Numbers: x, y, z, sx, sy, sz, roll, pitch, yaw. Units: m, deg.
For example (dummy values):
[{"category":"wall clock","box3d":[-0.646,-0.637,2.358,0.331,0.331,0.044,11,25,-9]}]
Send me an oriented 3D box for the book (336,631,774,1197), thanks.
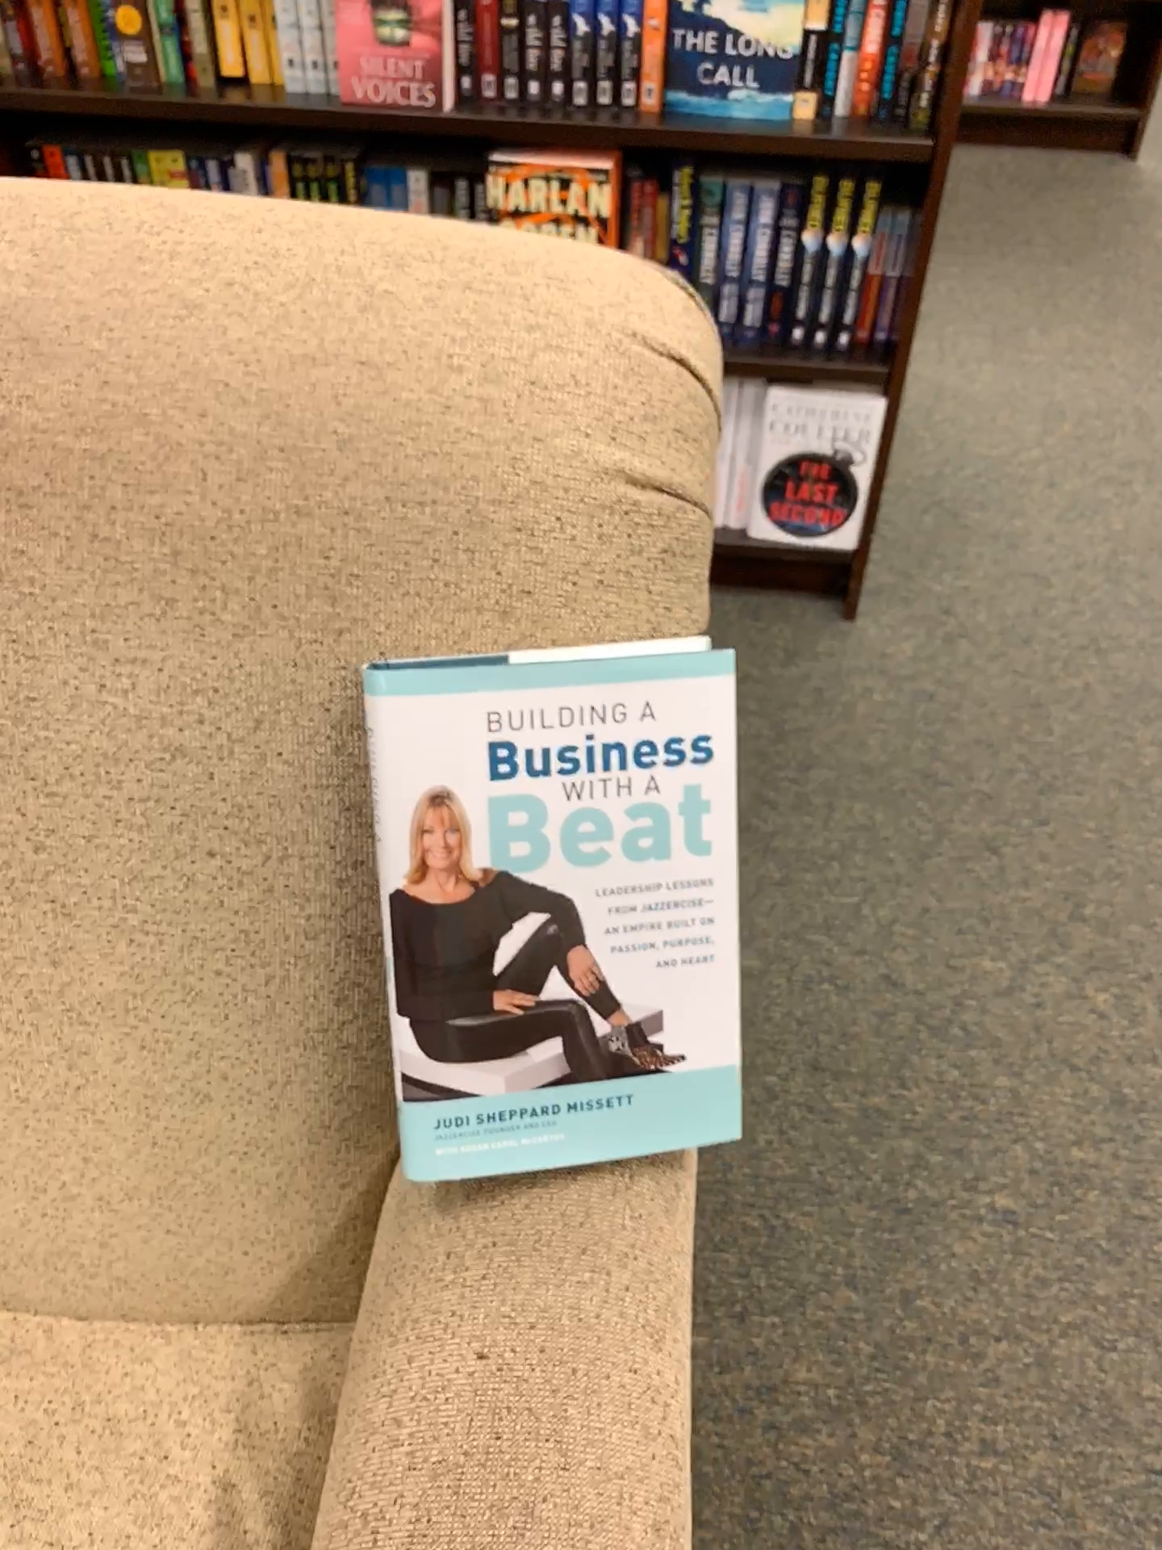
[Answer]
[{"category":"book","box3d":[-0.007,0.061,0.530,0.170,0.230,0.040,-6,14,-6]}]
